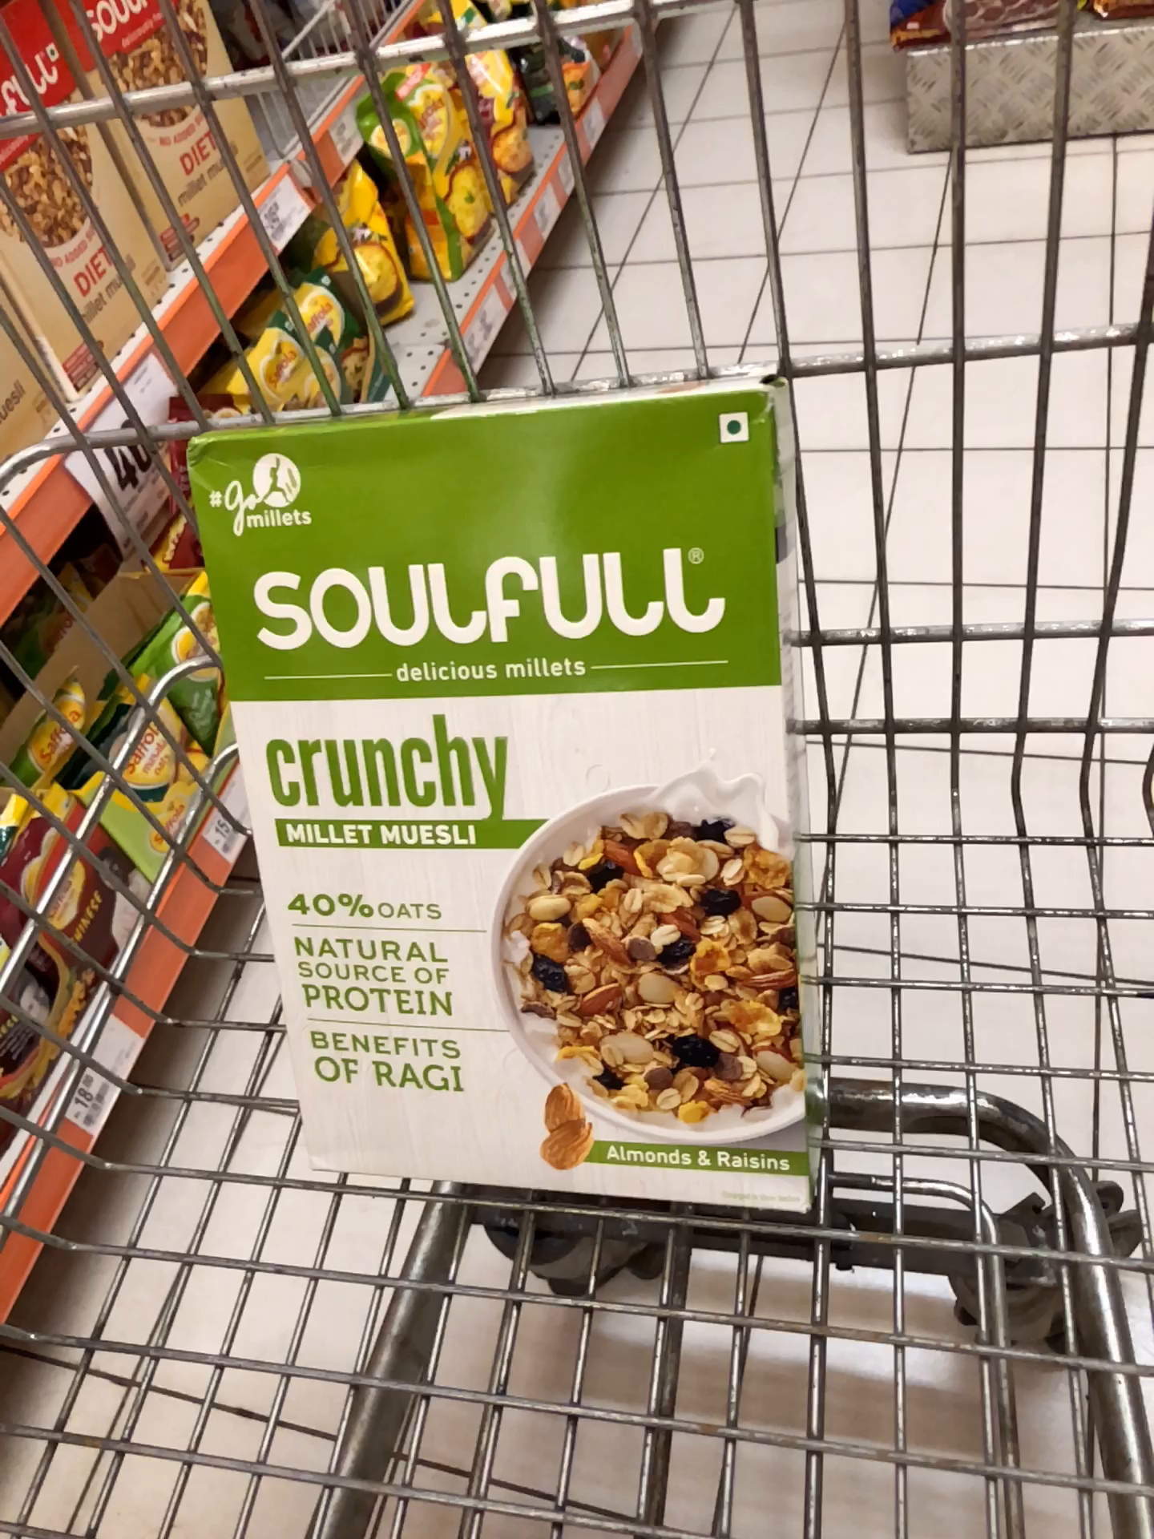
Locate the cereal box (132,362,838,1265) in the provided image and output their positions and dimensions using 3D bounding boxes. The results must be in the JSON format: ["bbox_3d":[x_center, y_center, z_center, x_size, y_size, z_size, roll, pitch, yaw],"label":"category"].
[{"bbox_3d":[-0.016,0.013,0.376,0.170,0.239,0.070,0,16,16],"label":"cereal box"}]
